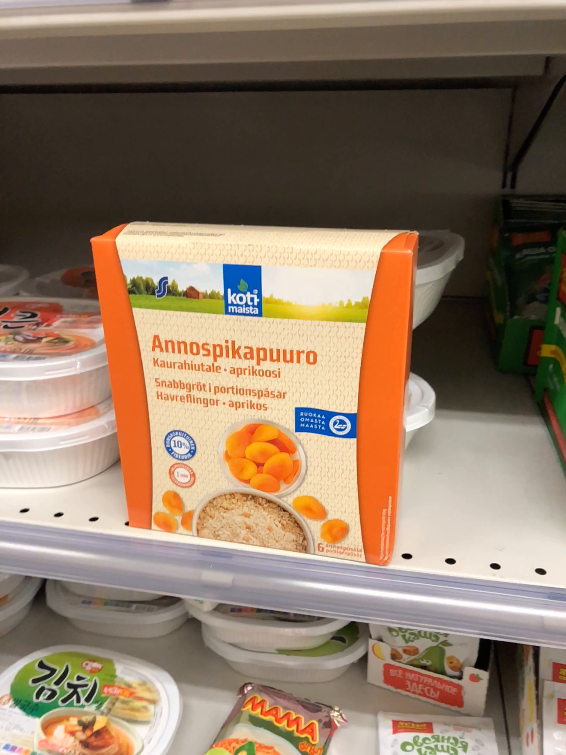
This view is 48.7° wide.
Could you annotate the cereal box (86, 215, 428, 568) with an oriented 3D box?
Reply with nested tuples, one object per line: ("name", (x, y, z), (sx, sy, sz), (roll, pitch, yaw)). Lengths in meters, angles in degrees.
("cereal box", (-0.011, 0.004, 0.362), (0.170, 0.179, 0.060), (5, 23, 15))
